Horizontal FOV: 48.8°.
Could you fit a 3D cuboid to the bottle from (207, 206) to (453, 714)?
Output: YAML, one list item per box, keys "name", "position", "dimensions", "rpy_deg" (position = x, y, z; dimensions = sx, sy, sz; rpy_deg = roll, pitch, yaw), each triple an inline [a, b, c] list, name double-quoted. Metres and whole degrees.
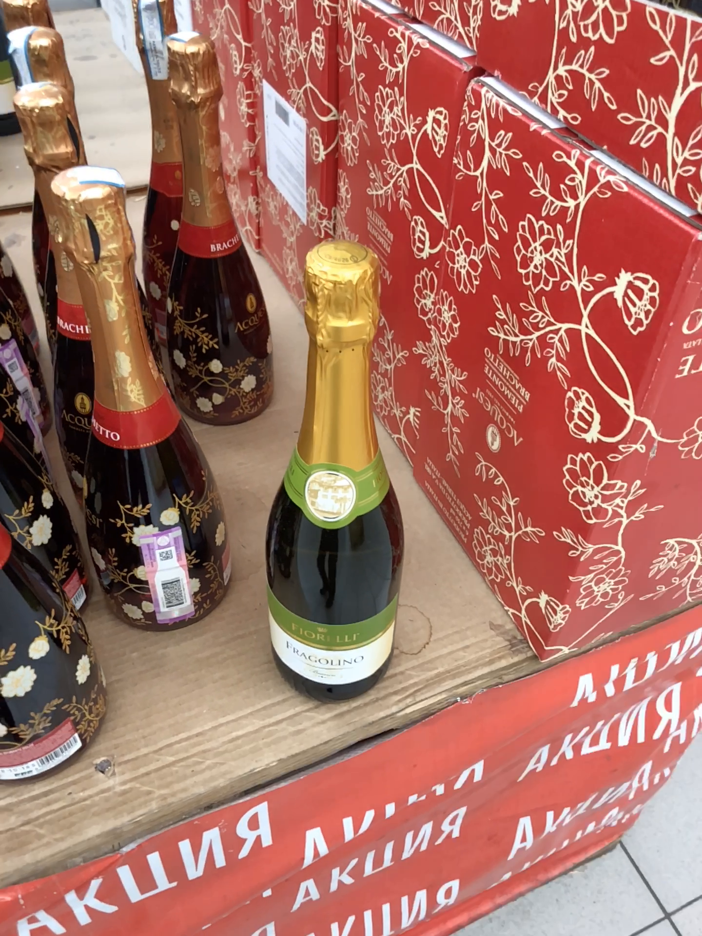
- name: "bottle"
  position: [-0.009, 0.016, 0.430]
  dimensions: [0.090, 0.288, 0.090]
  rpy_deg: [1, 44, -1]
